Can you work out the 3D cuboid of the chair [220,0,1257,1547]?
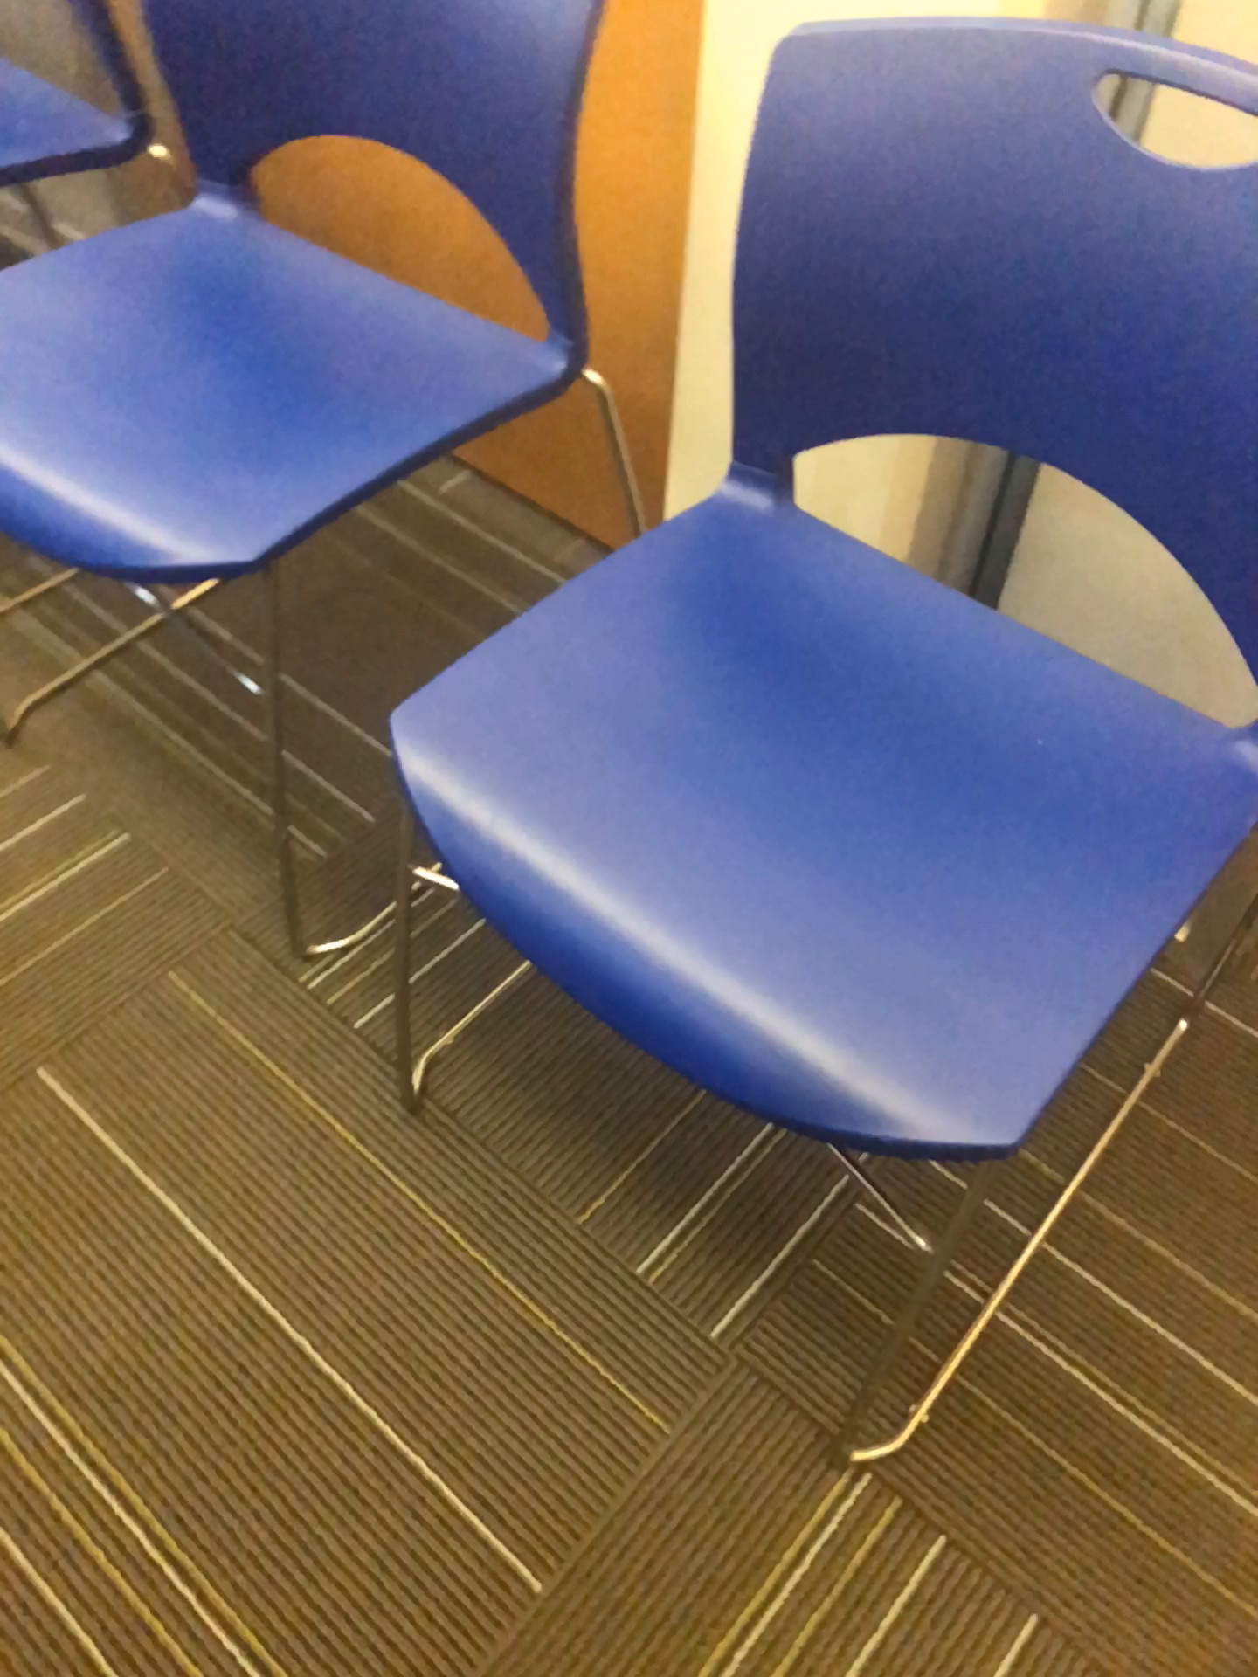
[{"bbox_3d":[0.198,-0.064,0.944,0.541,0.774,0.594,34,55,24],"label":"chair"}]

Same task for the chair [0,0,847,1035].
[{"bbox_3d":[-0.260,-0.402,1.276,0.521,0.853,0.634,33,55,23],"label":"chair"}]
